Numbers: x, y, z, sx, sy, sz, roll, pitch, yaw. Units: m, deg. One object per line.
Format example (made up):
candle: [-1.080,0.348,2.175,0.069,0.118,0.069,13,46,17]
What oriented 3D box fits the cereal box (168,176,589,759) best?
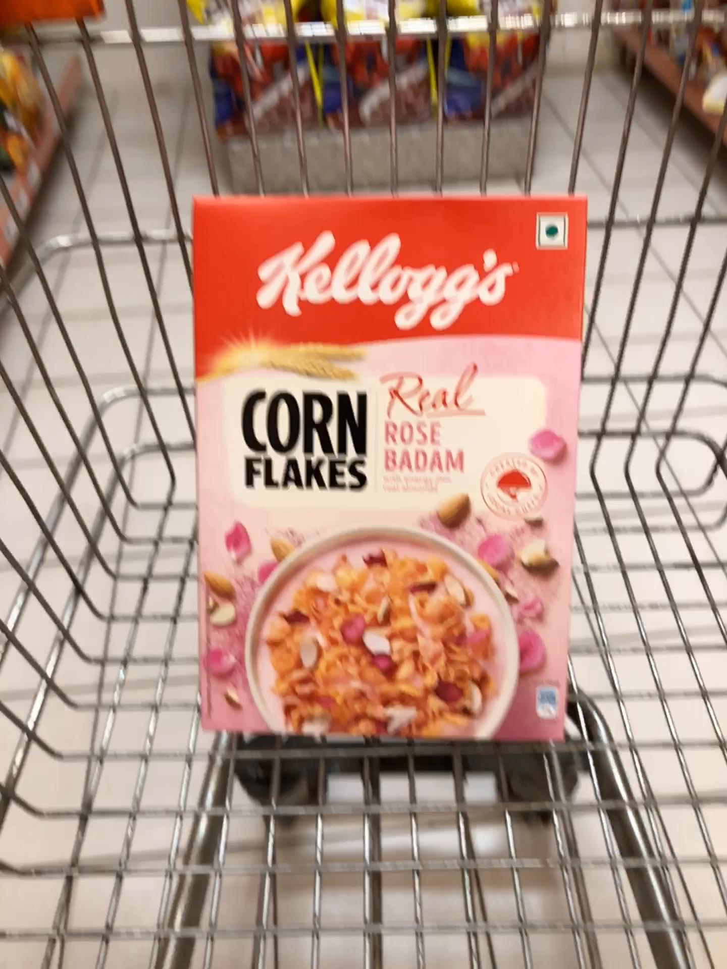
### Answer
cereal box: [0.006,-0.008,0.402,0.180,0.260,0.080,1,7,3]
